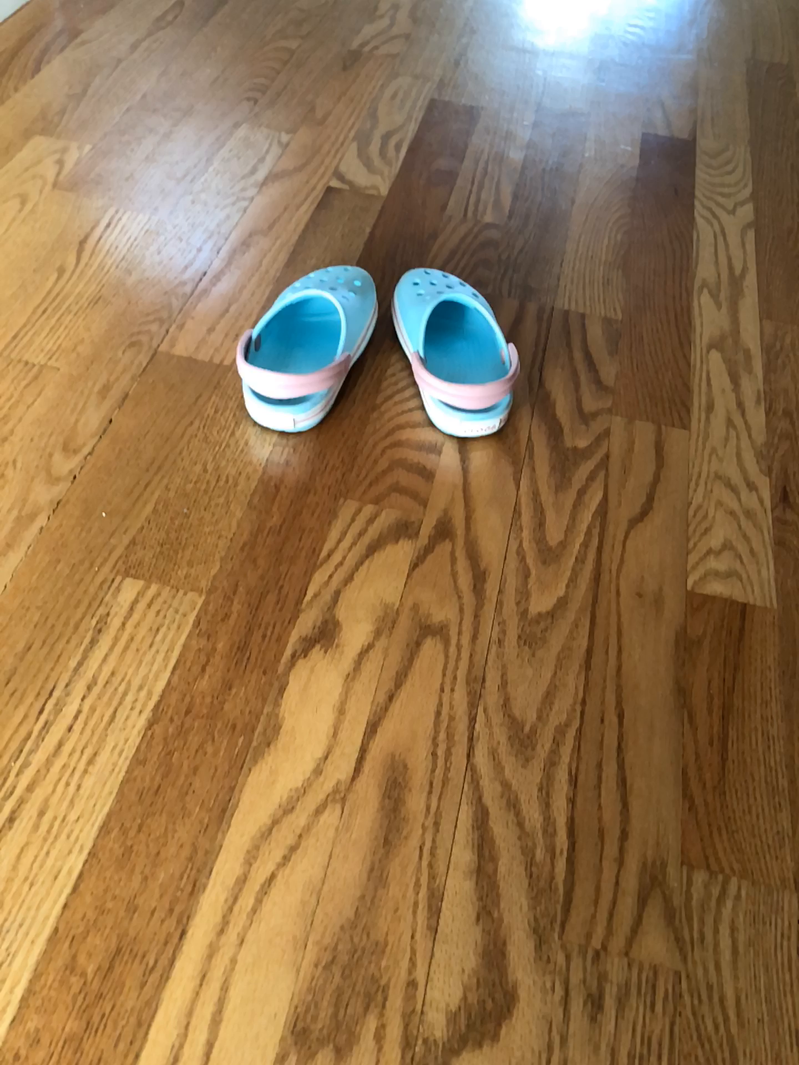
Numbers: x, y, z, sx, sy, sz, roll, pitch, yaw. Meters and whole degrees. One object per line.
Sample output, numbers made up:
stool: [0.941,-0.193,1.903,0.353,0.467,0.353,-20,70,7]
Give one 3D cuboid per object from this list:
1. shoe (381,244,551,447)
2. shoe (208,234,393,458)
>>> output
shoe: [0.043,-0.142,0.646,0.083,0.048,0.166,-6,51,-10]
shoe: [-0.066,-0.140,0.639,0.083,0.057,0.166,13,50,6]
